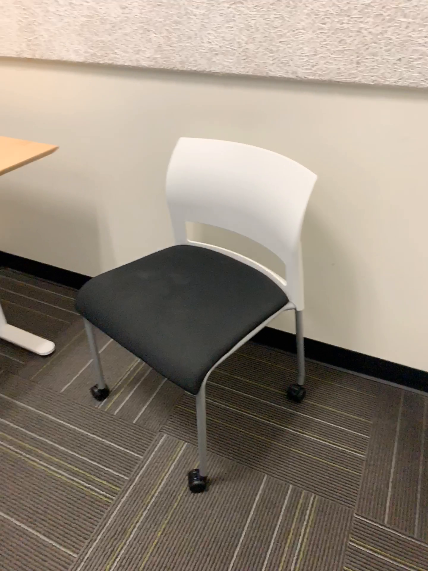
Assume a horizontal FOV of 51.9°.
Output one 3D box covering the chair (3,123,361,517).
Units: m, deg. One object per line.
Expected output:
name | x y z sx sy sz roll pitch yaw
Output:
chair | -0.063 0.039 1.298 0.622 0.775 0.622 25 42 32
